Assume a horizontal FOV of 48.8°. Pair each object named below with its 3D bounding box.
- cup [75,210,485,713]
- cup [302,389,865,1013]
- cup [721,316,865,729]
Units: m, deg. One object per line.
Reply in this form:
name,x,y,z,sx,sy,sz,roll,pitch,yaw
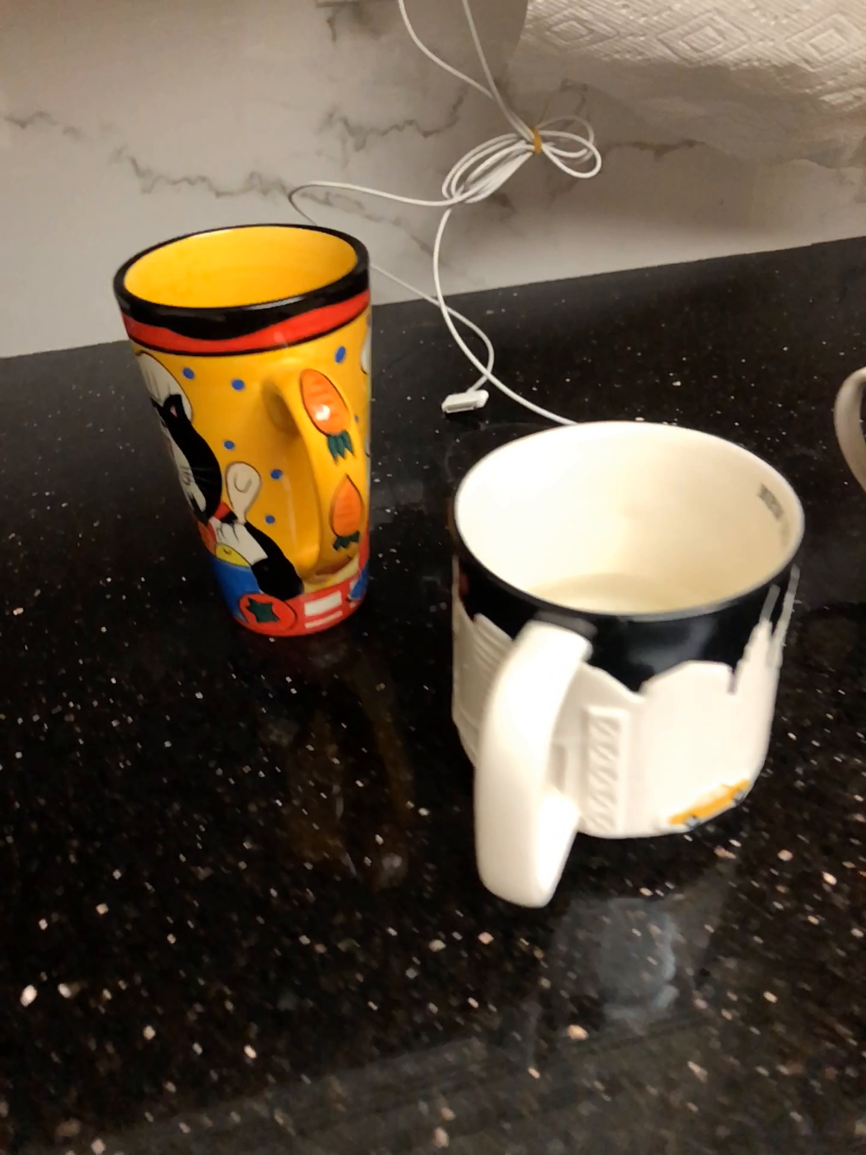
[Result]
cup,-0.056,-0.051,0.365,0.090,0.129,0.131,-23,40,-24
cup,0.052,0.025,0.300,0.110,0.099,0.141,18,42,27
cup,0.205,-0.031,0.368,0.100,0.080,0.140,-32,45,-33
